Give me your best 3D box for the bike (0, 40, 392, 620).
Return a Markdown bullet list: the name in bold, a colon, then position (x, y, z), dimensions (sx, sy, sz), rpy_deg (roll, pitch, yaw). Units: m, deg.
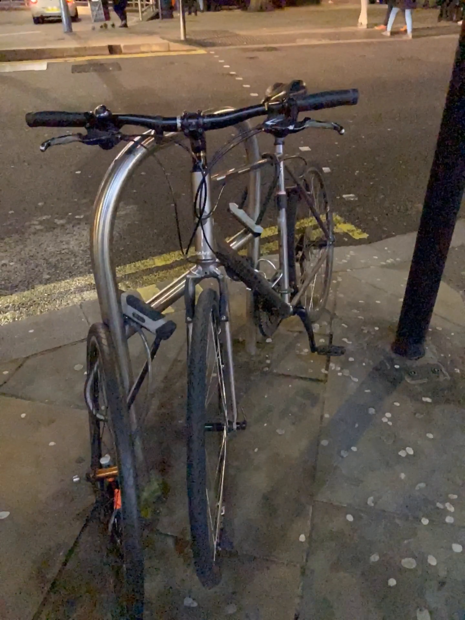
- **bike**: position (0.040, -0.188, 1.568), dimensions (0.708, 1.124, 1.830), rpy_deg (9, 35, 15)
